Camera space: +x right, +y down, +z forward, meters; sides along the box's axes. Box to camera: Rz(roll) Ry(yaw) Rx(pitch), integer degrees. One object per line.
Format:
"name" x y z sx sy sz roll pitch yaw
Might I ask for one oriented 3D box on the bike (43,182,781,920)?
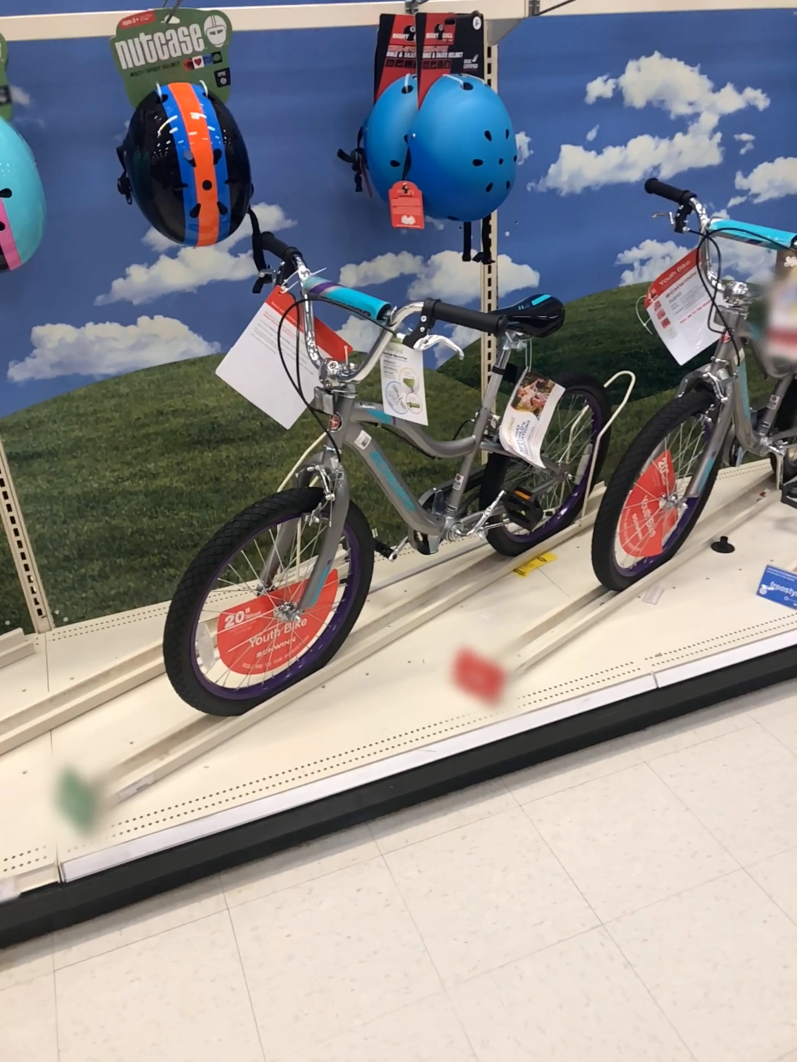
"bike" 0.111 -0.117 1.841 1.323 0.878 0.651 -29 37 -34
